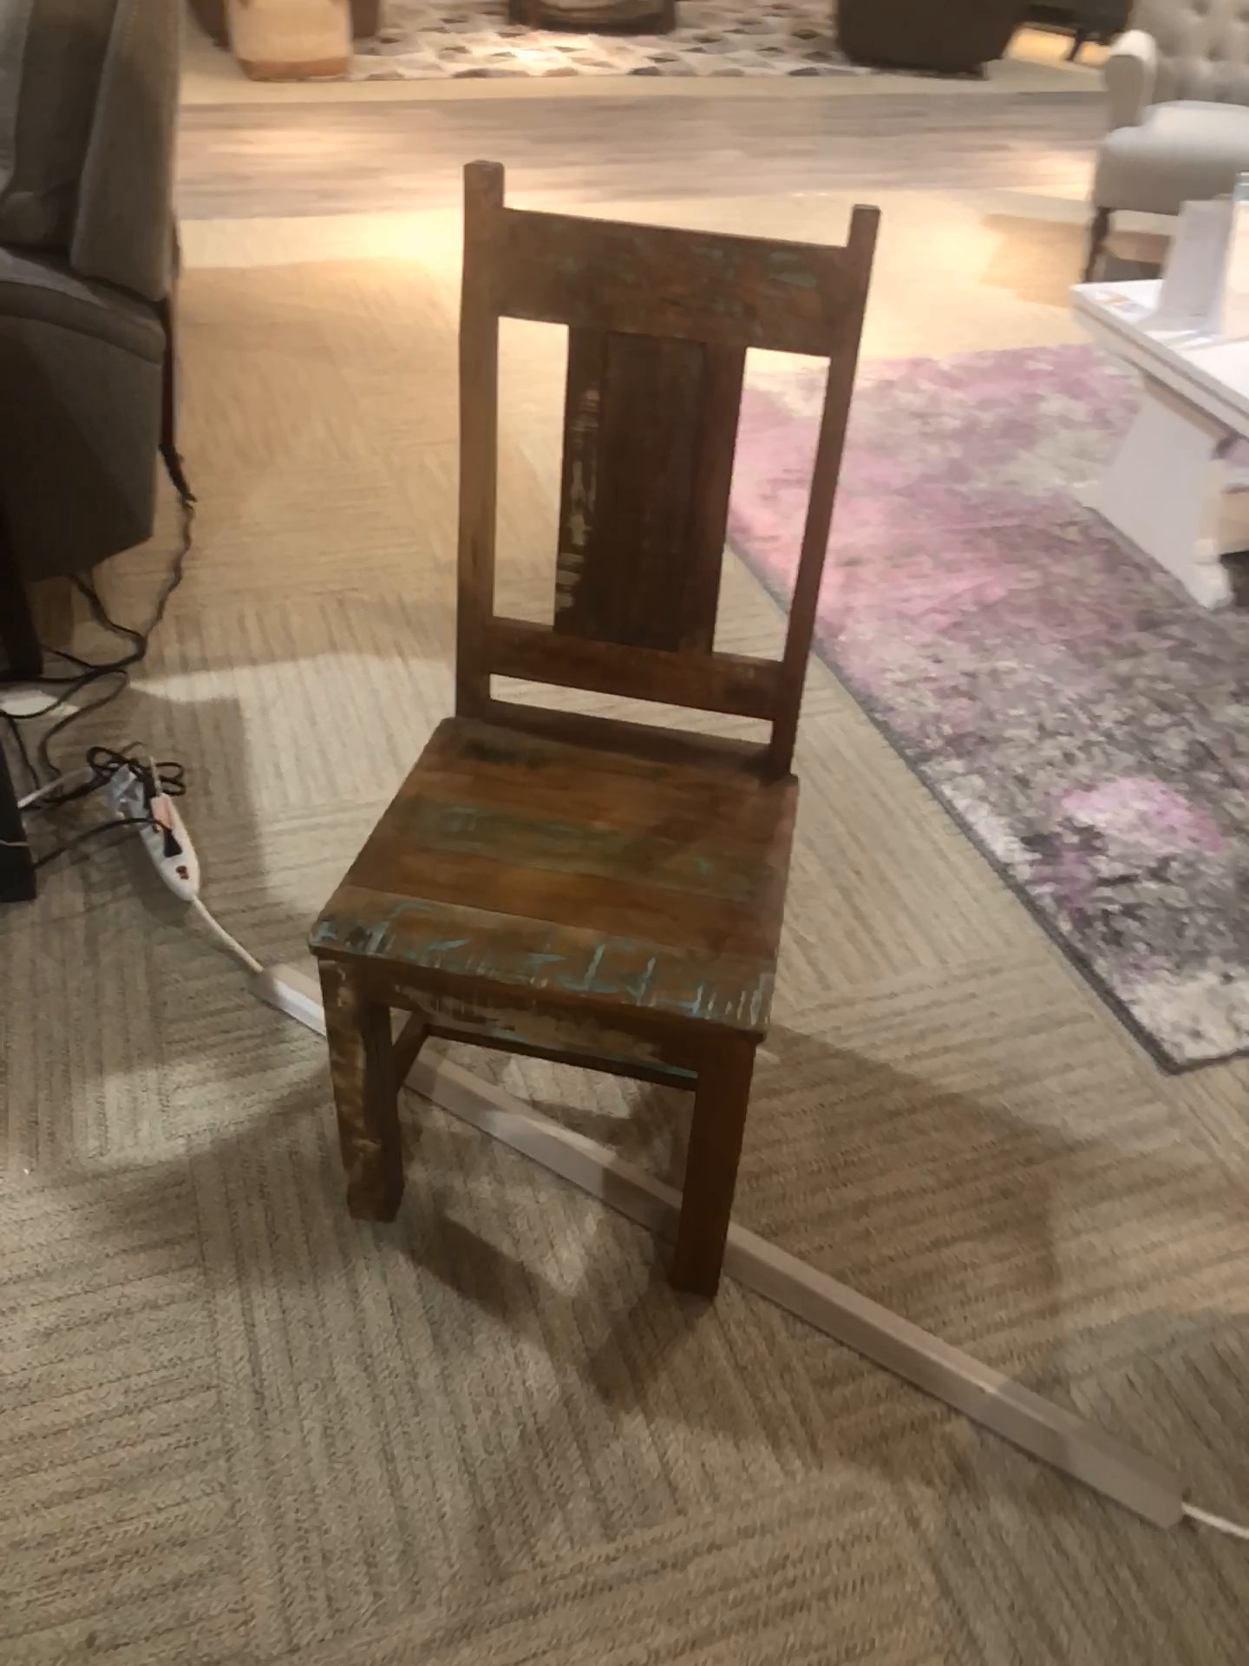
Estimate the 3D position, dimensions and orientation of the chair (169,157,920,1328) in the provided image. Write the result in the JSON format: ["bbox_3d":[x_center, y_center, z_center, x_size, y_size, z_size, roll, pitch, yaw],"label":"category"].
[{"bbox_3d":[-0.042,-0.054,1.406,0.476,1.024,0.513,10,39,8],"label":"chair"}]
